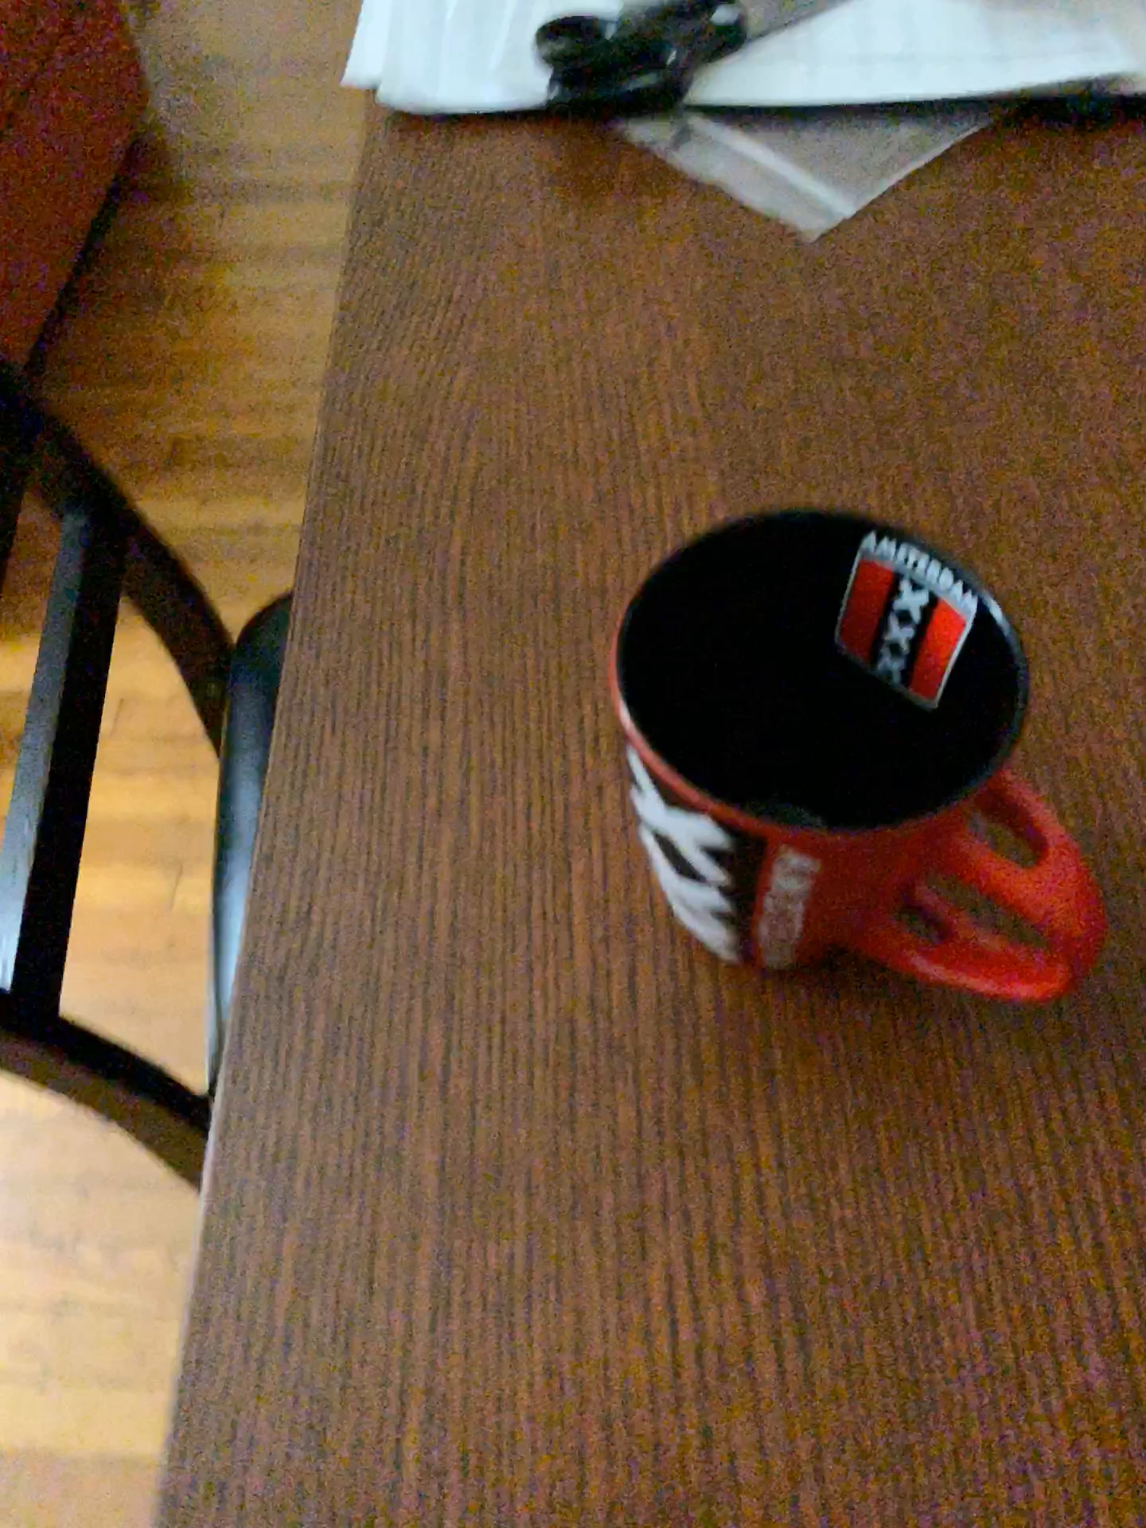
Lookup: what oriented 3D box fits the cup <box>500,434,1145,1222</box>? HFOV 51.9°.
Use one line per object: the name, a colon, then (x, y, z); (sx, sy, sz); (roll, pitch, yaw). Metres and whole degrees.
cup: (0.065, 0.015, 0.275); (0.130, 0.100, 0.090); (39, 67, 24)
